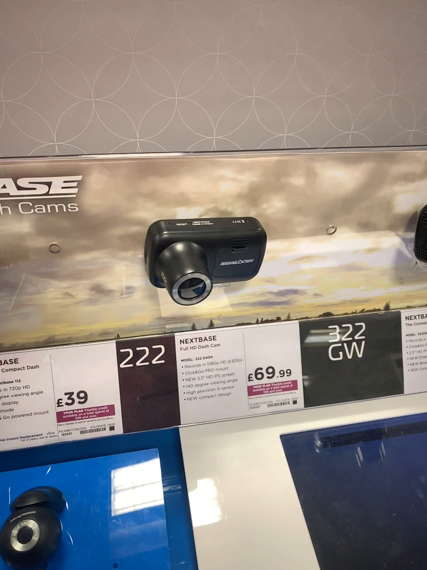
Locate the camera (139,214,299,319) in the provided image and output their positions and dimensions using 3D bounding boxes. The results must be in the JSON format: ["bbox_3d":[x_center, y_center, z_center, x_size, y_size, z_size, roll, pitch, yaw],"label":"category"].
[{"bbox_3d":[0.000,-0.014,0.282,0.090,0.040,0.050,-4,39,-13],"label":"camera"}]
